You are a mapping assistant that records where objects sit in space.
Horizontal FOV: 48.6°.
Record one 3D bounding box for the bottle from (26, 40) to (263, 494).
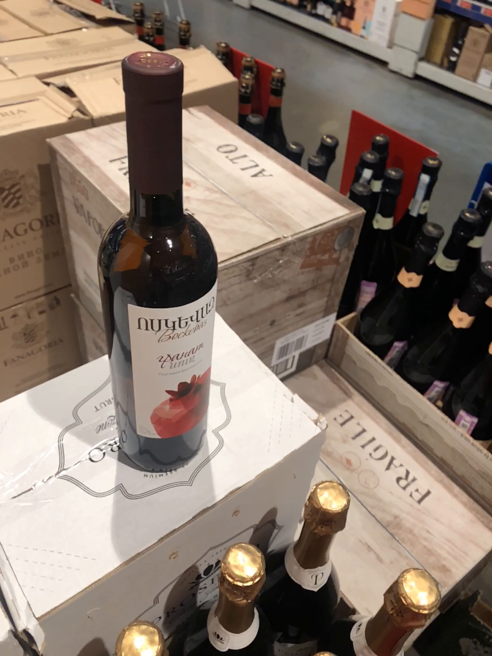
[{"bbox_3d":[-0.061,-0.016,0.366,0.090,0.298,0.080,-18,48,-23],"label":"bottle"}]
